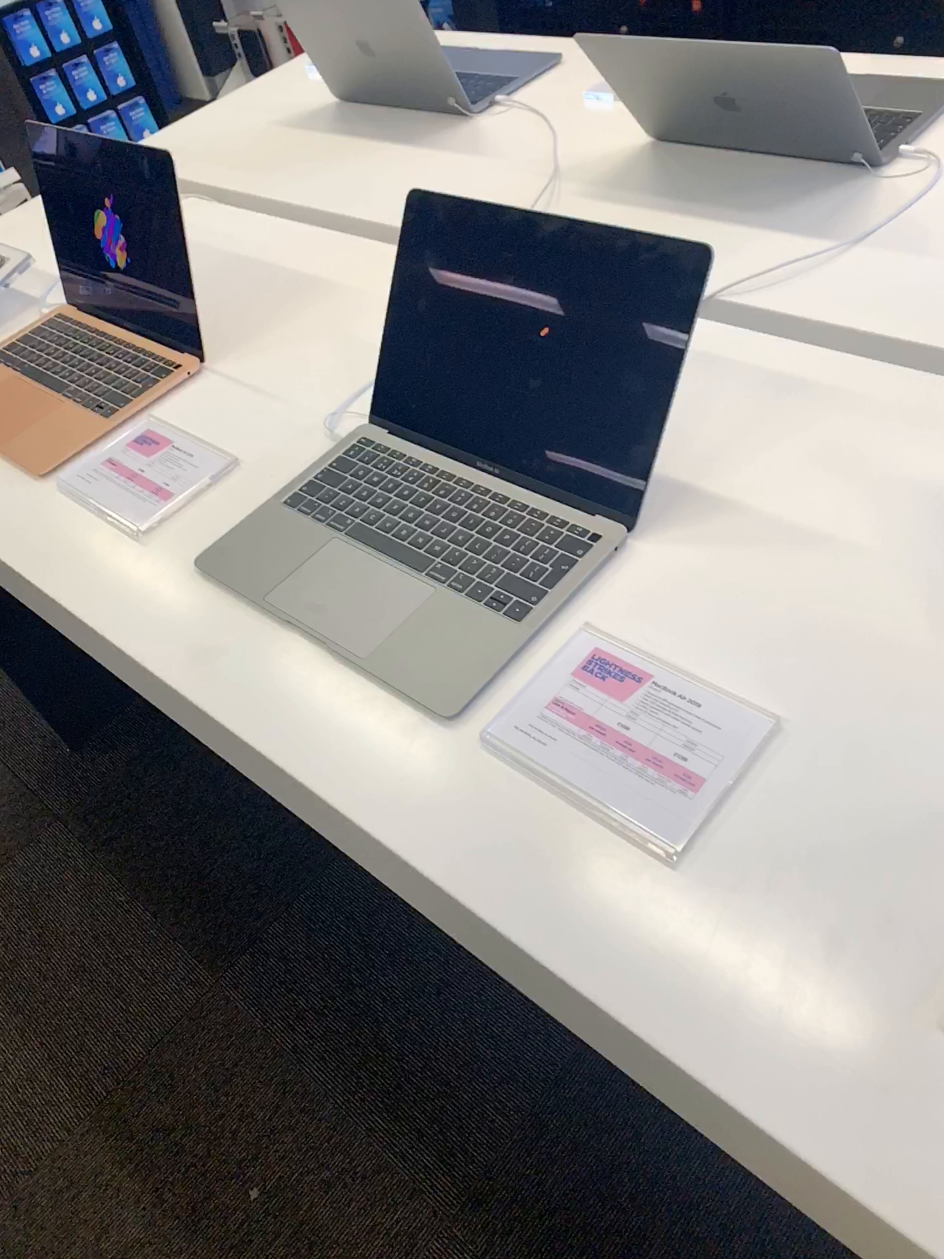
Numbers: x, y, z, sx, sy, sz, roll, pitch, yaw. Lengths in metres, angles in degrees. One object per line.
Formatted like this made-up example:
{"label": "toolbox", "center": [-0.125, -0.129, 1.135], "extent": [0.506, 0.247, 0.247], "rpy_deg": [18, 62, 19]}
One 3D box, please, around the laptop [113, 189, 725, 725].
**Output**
{"label": "laptop", "center": [-0.025, -0.155, 0.723], "extent": [0.291, 0.160, 0.329], "rpy_deg": [27, 60, 34]}
